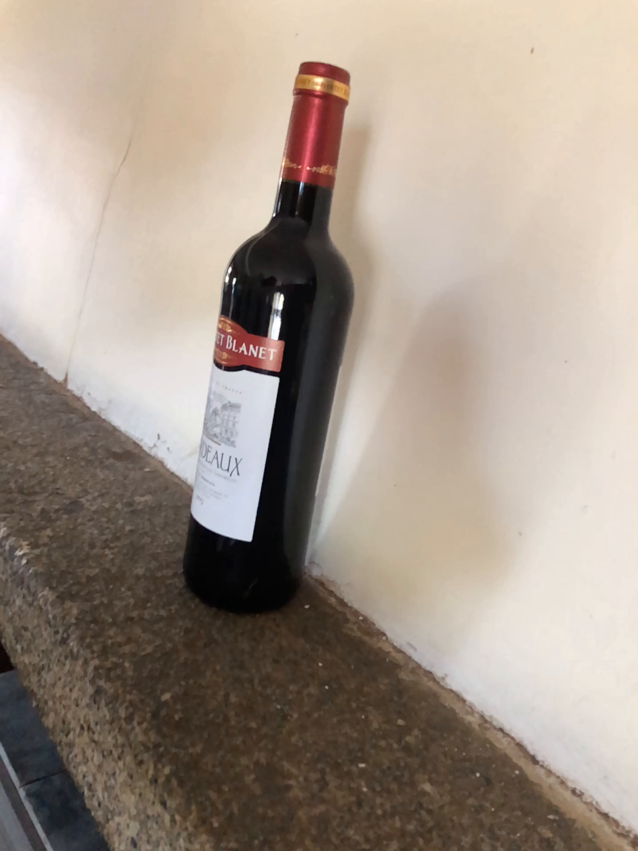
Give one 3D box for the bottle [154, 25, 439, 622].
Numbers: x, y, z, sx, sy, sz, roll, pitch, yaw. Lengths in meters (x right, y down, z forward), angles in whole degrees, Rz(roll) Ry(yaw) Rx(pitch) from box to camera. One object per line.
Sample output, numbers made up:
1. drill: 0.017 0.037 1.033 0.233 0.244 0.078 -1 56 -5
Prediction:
1. bottle: -0.020 -0.048 0.391 0.080 0.289 0.080 10 13 -2
